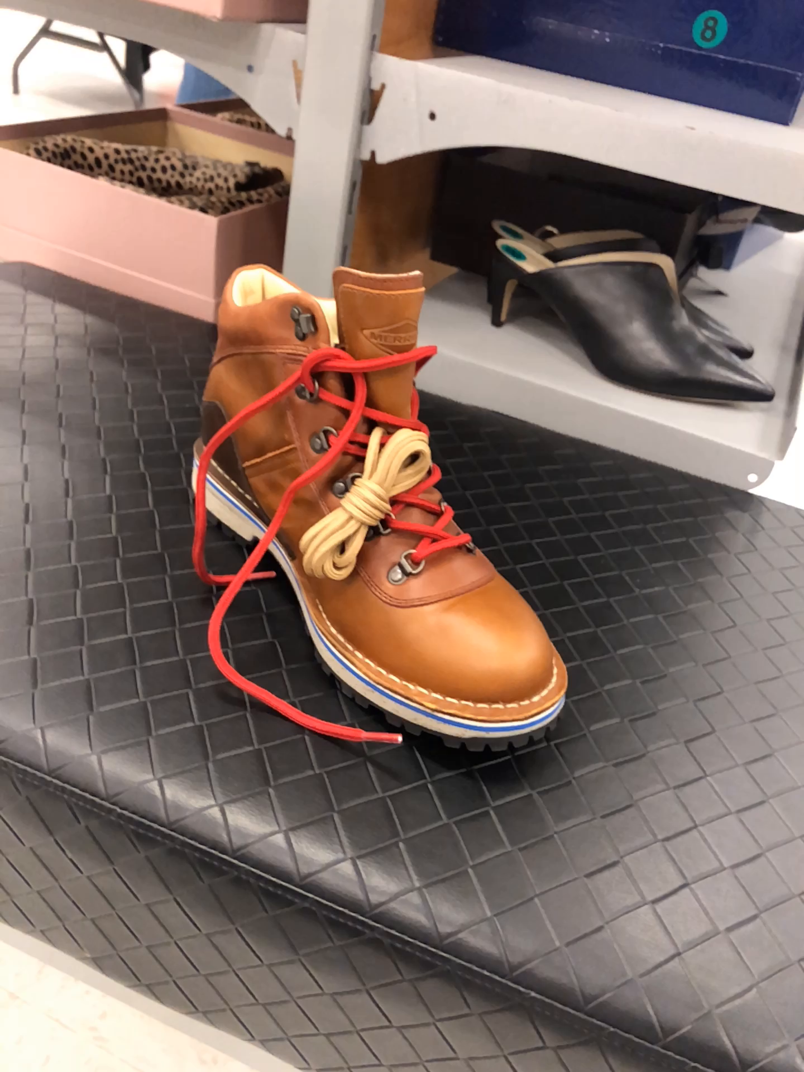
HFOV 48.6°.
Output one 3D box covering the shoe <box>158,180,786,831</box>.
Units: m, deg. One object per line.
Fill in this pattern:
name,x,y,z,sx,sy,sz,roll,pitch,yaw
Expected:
shoe,-0.001,-0.043,0.453,0.122,0.180,0.298,-16,43,-35
